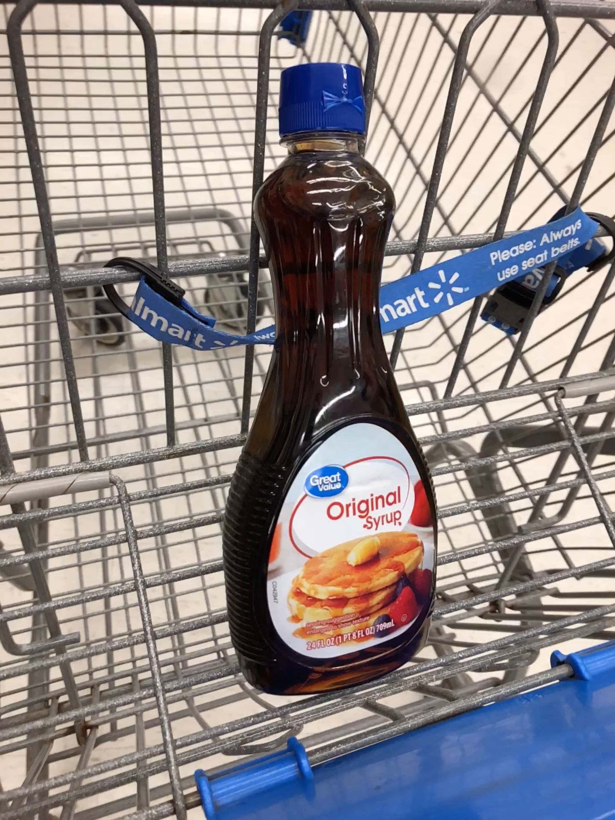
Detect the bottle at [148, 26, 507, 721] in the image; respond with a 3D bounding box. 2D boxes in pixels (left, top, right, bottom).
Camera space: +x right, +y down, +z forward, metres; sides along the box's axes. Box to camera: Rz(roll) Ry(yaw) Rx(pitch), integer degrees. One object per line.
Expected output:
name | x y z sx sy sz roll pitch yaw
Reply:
bottle | 0.011 -0.015 0.293 0.120 0.070 0.250 -8 101 -17
